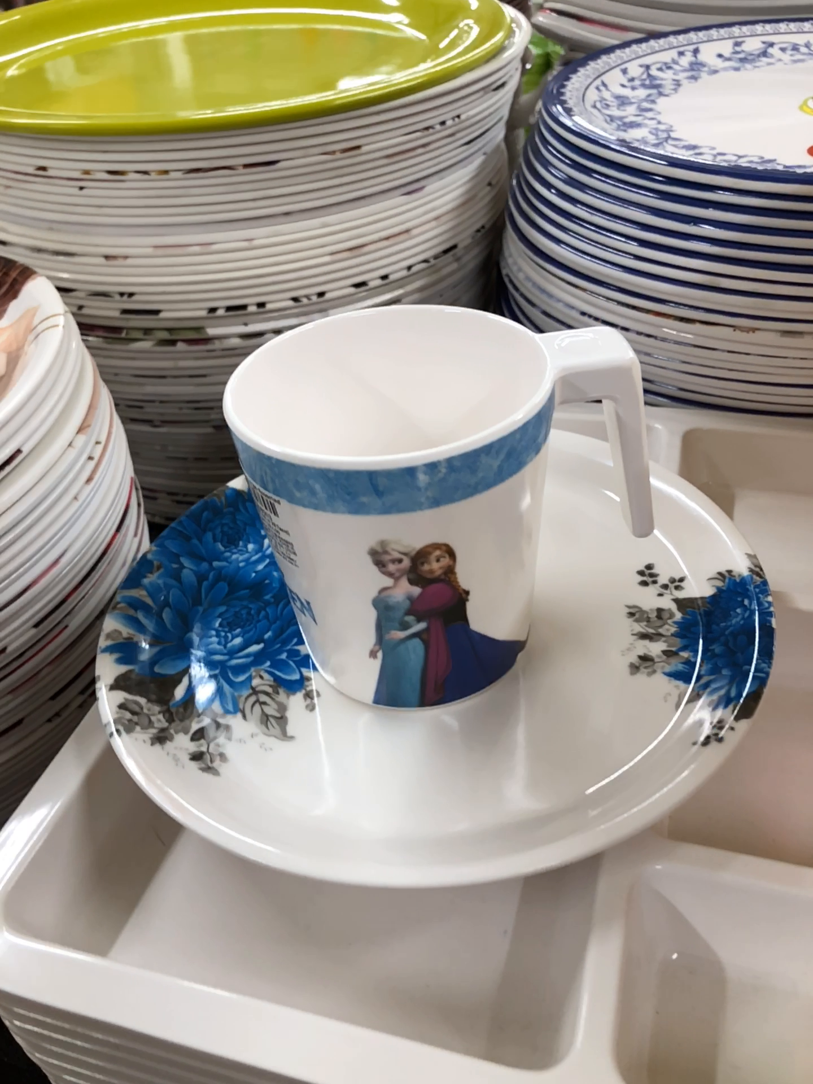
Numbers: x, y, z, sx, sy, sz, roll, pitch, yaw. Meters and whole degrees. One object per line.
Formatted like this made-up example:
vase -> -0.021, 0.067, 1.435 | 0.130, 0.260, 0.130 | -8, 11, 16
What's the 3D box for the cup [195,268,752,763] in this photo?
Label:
cup -> 0.015, -0.008, 0.237 | 0.110, 0.089, 0.081 | -5, 39, 0
